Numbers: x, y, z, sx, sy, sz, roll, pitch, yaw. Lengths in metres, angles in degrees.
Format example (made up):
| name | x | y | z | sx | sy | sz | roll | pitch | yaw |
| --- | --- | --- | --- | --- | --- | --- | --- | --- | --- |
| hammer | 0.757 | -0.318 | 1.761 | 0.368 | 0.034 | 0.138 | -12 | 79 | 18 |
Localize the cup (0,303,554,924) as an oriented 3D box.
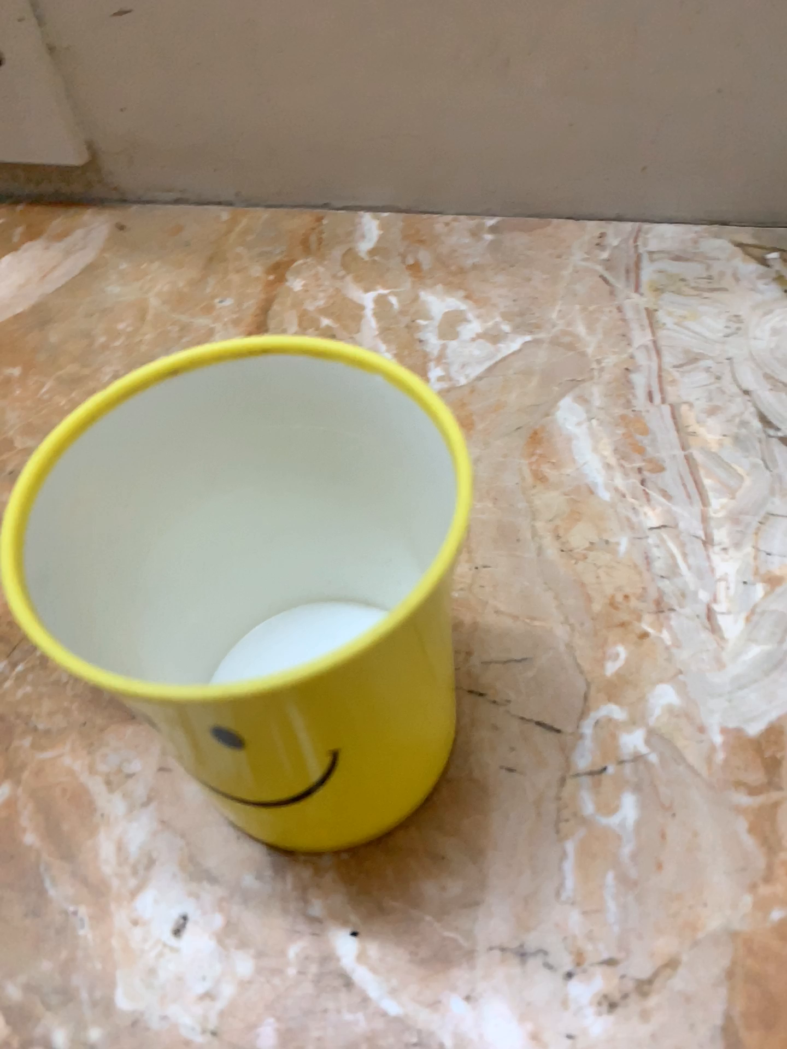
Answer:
| name | x | y | z | sx | sy | sz | roll | pitch | yaw |
| --- | --- | --- | --- | --- | --- | --- | --- | --- | --- |
| cup | -0.030 | 0.018 | 0.158 | 0.110 | 0.089 | 0.070 | 6 | 53 | 12 |
